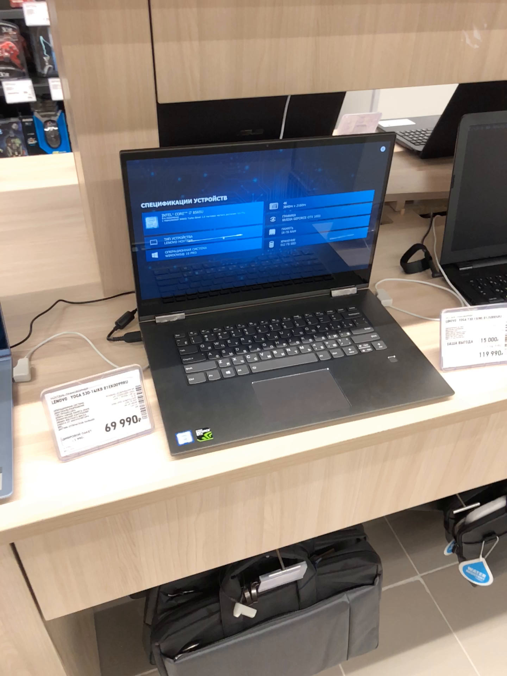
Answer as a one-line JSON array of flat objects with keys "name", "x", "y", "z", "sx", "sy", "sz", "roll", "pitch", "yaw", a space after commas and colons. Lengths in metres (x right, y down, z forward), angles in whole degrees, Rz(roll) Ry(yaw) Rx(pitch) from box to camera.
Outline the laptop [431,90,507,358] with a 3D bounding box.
[{"name": "laptop", "x": 0.488, "y": -0.190, "z": 0.827, "sx": 0.305, "sy": 0.238, "sz": 0.309, "roll": -8, "pitch": 36, "yaw": -8}]

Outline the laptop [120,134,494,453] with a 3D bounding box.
[{"name": "laptop", "x": 0.039, "y": -0.075, "z": 0.692, "sx": 0.358, "sy": 0.240, "sz": 0.253, "roll": -9, "pitch": 39, "yaw": -14}]
